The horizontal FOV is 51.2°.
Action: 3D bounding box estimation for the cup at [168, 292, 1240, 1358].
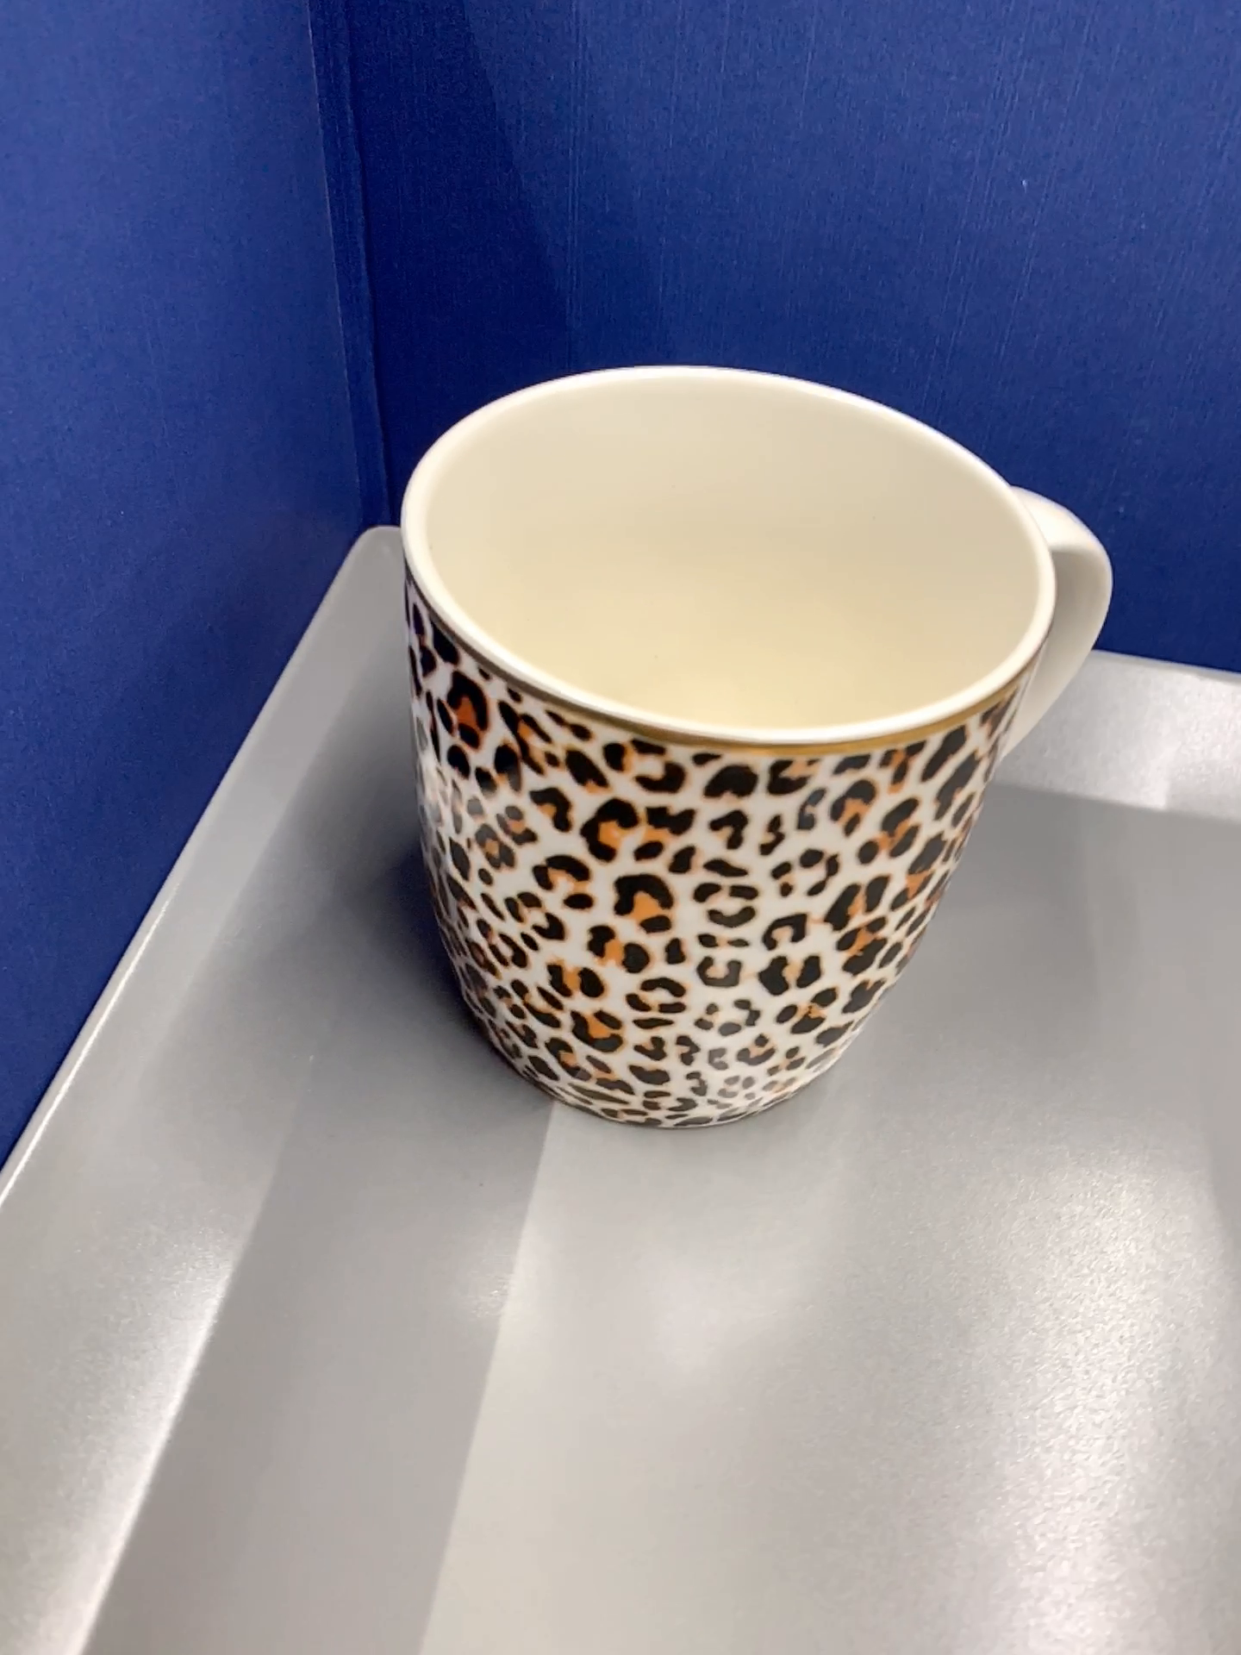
[{"bbox_3d":[0.015,-0.010,0.208,0.126,0.095,0.099,-22,50,-25],"label":"cup"}]
